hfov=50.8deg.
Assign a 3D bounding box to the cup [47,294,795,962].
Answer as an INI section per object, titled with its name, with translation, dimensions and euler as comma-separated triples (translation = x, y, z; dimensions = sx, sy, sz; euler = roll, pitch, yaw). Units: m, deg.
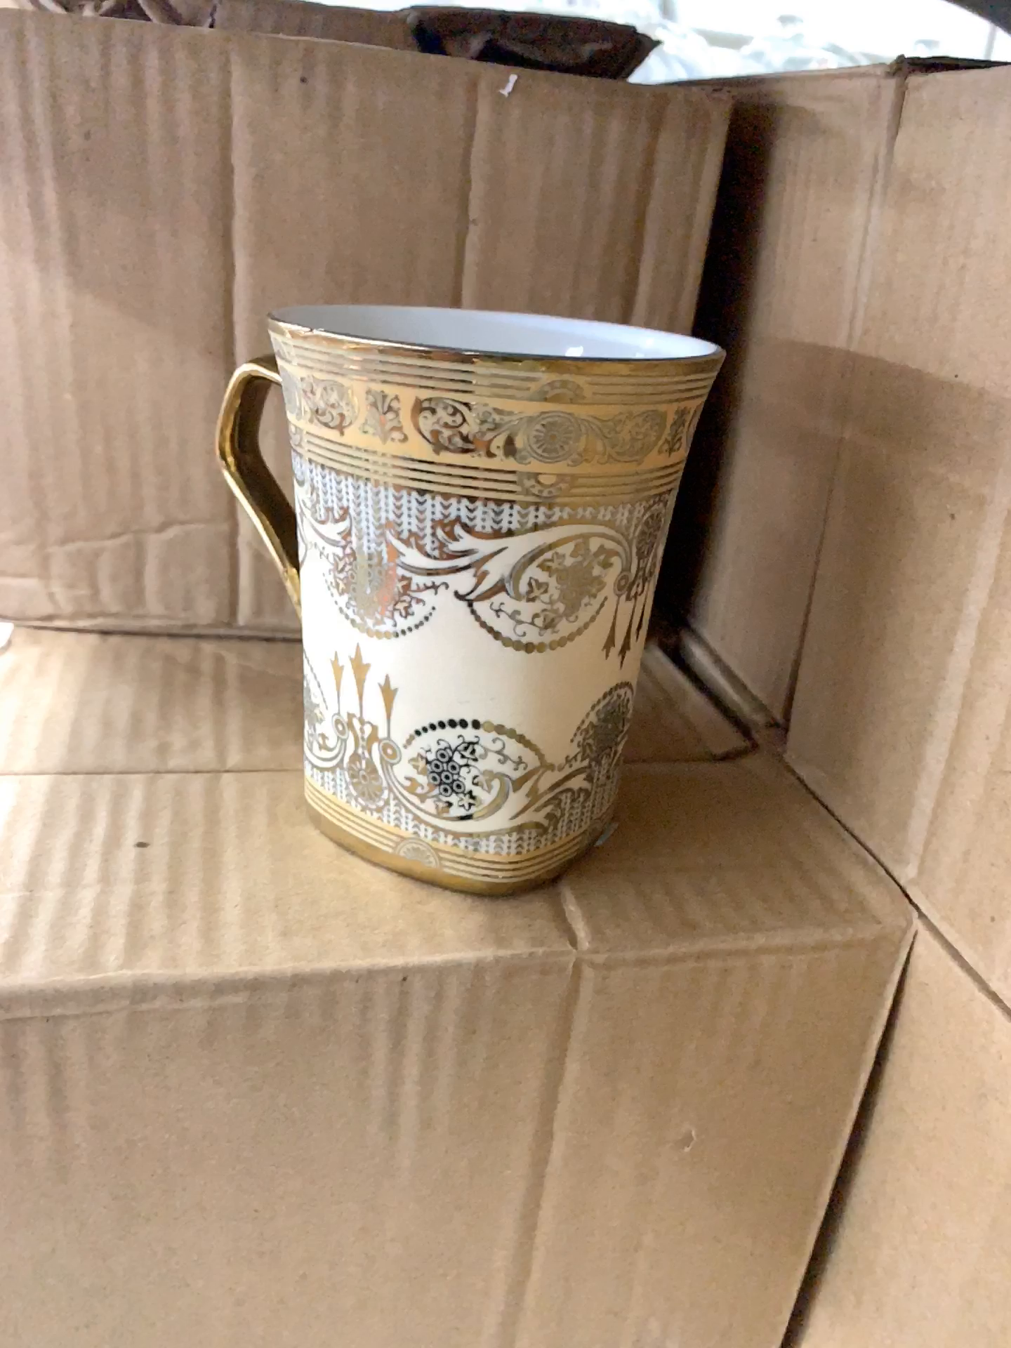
[cup]
translation = -0.016, -0.022, 0.212
dimensions = 0.110, 0.089, 0.080
euler = 17, 27, 28
